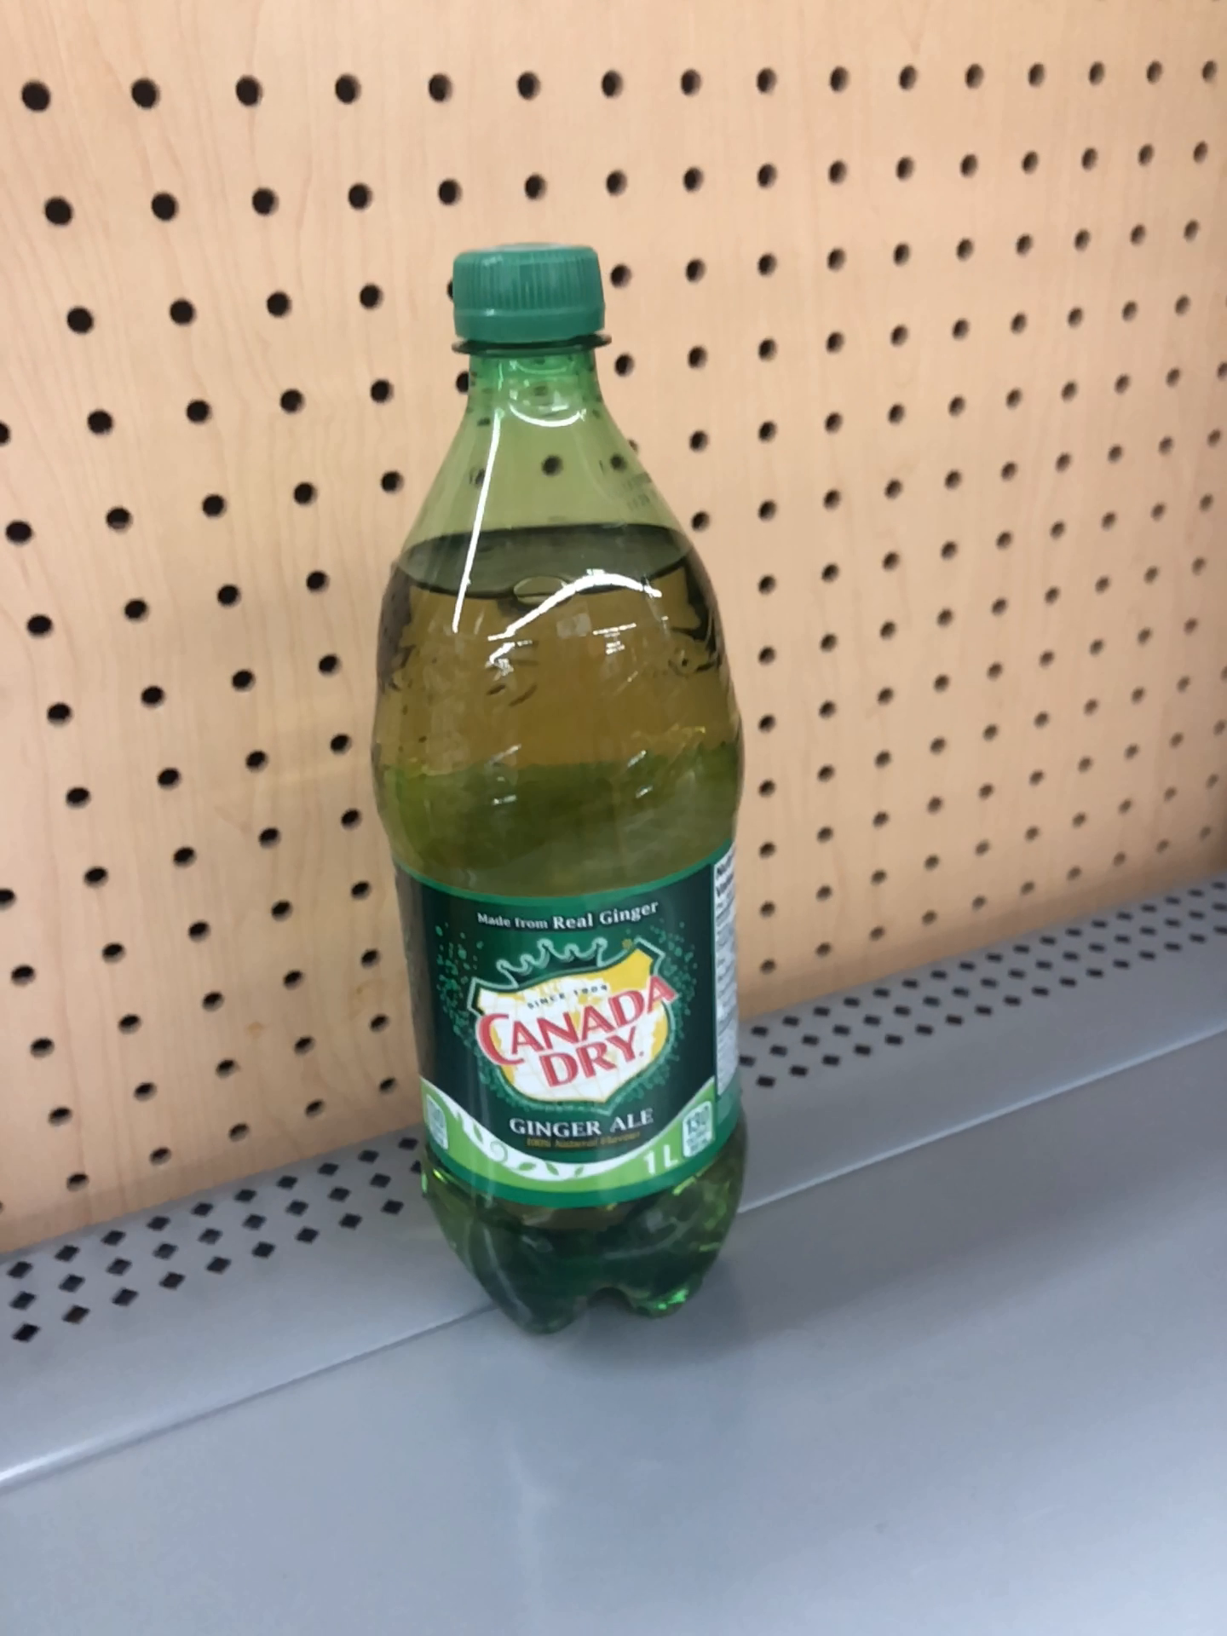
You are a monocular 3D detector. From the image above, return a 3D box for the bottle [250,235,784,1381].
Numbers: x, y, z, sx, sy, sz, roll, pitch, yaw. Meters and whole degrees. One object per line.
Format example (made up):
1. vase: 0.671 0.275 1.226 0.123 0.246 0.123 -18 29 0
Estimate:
1. bottle: -0.012 0.001 0.322 0.090 0.248 0.091 -3 24 1
